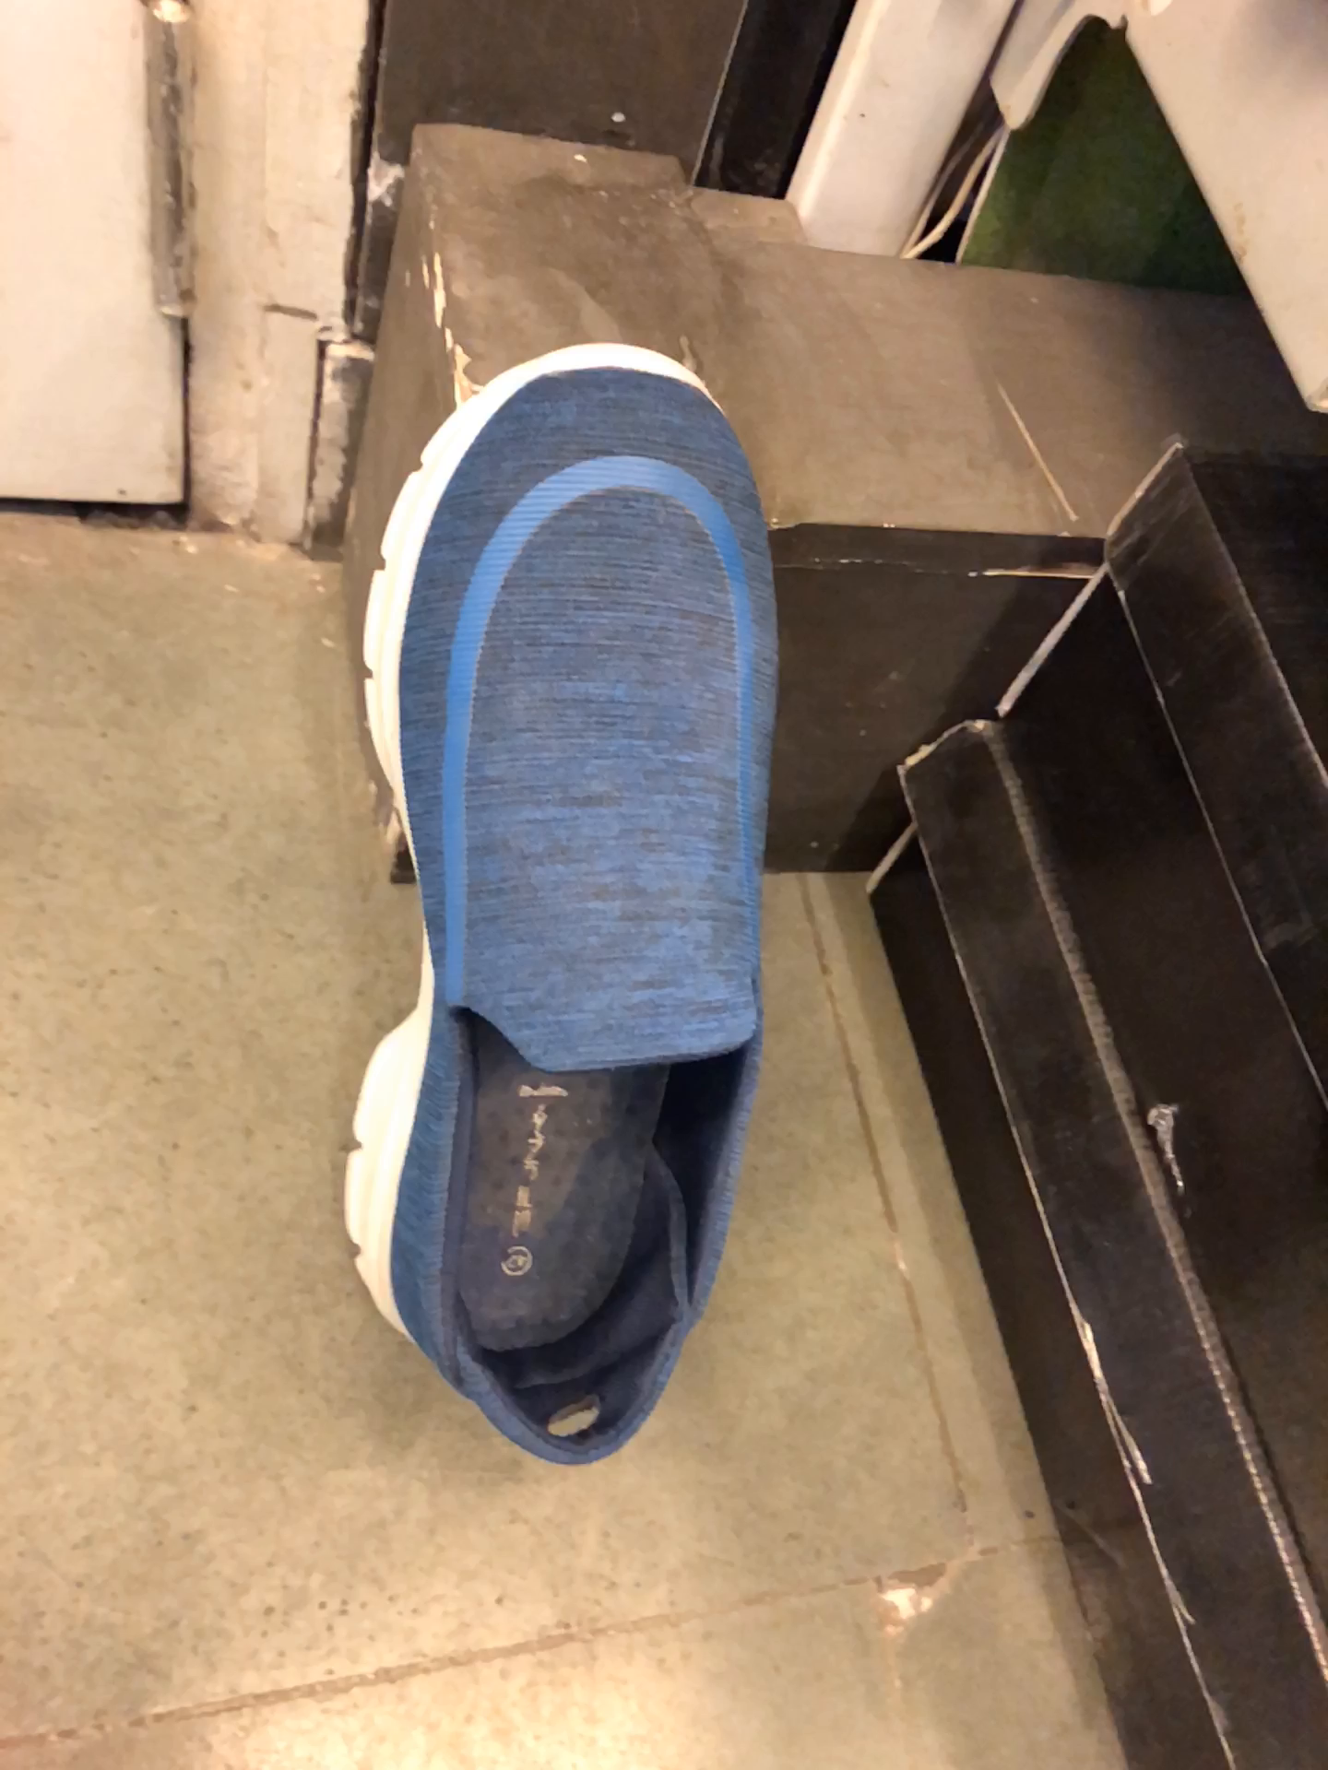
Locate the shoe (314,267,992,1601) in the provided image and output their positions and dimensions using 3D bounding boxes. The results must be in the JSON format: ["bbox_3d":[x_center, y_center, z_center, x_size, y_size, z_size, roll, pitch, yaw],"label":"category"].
[{"bbox_3d":[-0.015,0.011,0.350,0.111,0.272,0.095,-1,16,-22],"label":"shoe"}]
